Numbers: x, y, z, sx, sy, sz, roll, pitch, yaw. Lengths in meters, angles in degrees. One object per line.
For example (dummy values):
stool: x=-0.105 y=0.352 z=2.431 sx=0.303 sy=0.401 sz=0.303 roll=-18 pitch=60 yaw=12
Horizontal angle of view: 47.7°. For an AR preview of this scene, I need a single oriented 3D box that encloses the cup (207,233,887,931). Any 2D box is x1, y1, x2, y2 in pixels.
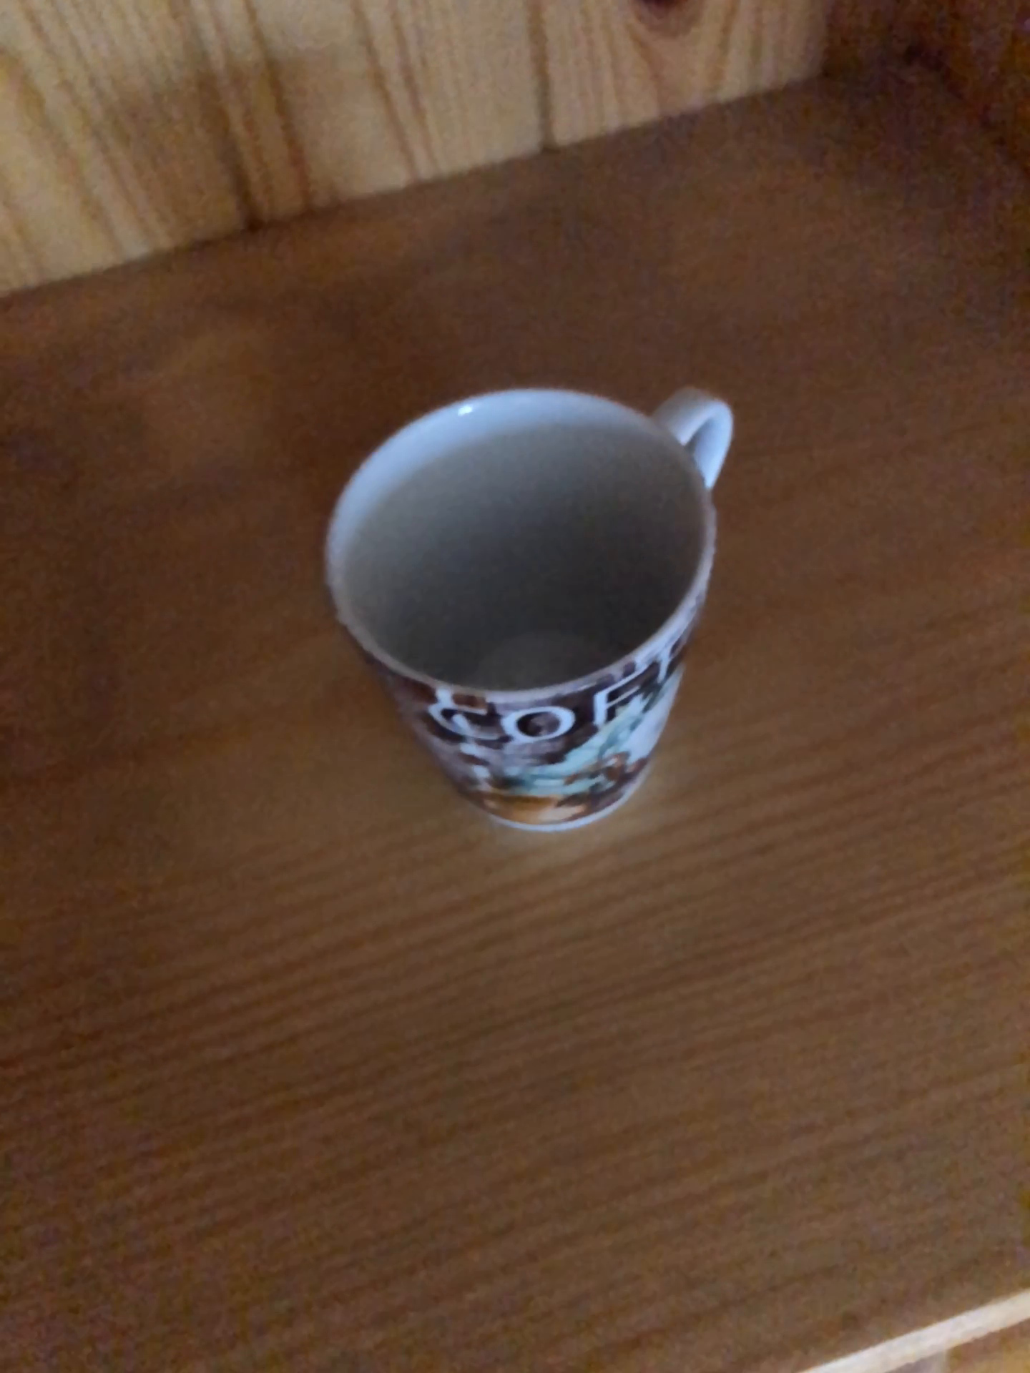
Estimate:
cup: x=0.007 y=-0.016 z=0.200 sx=0.080 sy=0.070 sz=0.060 roll=-33 pitch=61 yaw=-14
